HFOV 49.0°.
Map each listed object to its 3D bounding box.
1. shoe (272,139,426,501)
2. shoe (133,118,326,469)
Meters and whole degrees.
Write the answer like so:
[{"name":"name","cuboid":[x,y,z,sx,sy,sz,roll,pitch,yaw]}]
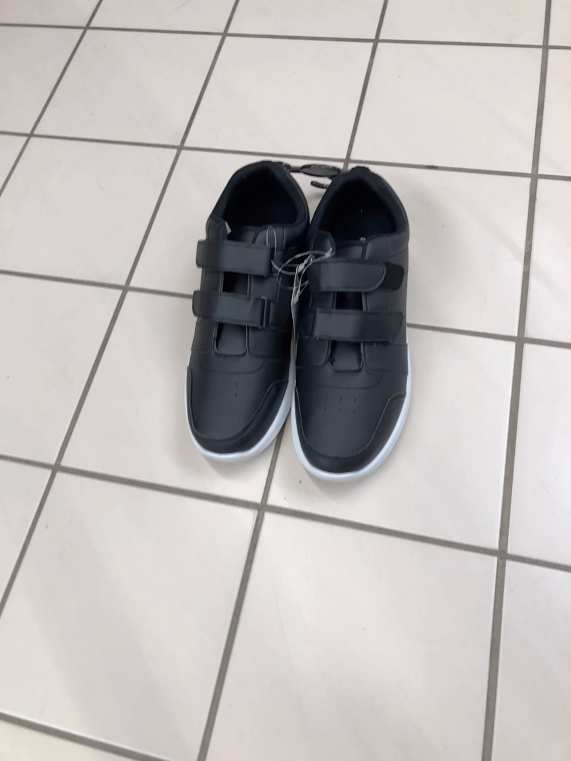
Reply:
[{"name":"shoe","cuboid":[0.065,-0.062,0.559,0.100,0.100,0.311,4,65,10]},{"name":"shoe","cuboid":[-0.036,-0.088,0.576,0.100,0.100,0.311,5,65,10]}]
